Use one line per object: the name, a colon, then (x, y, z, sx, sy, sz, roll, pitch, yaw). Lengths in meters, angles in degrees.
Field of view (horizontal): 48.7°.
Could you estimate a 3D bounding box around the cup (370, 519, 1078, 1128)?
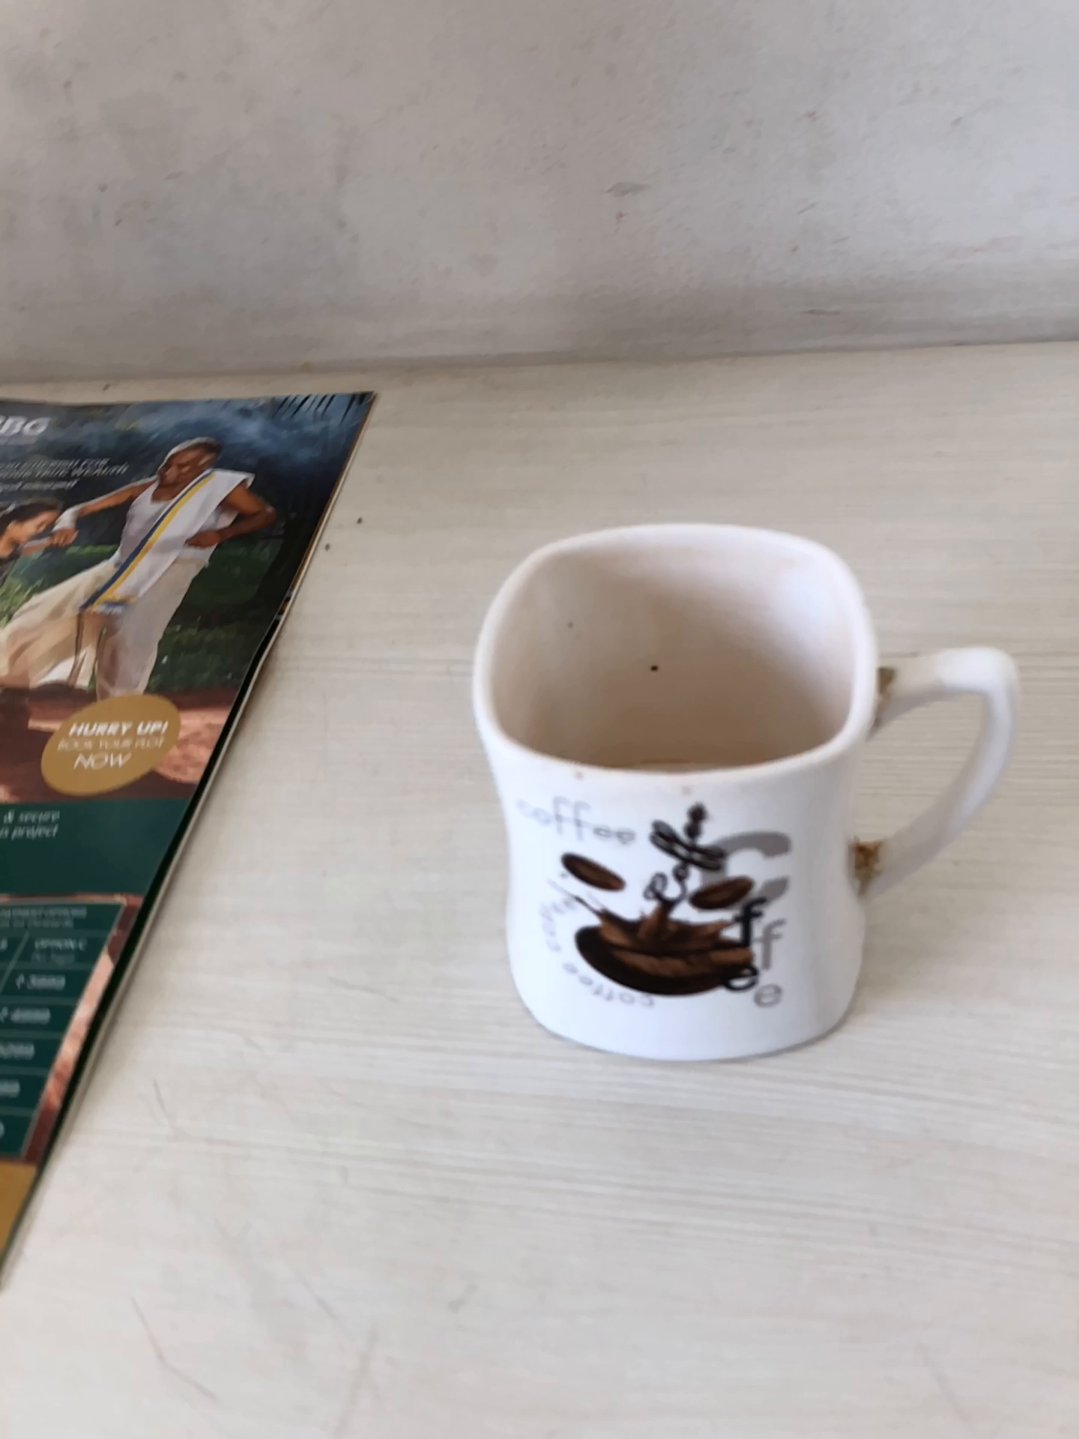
cup: (0.030, 0.017, 0.201, 0.090, 0.070, 0.070, -1, 43, 9)
